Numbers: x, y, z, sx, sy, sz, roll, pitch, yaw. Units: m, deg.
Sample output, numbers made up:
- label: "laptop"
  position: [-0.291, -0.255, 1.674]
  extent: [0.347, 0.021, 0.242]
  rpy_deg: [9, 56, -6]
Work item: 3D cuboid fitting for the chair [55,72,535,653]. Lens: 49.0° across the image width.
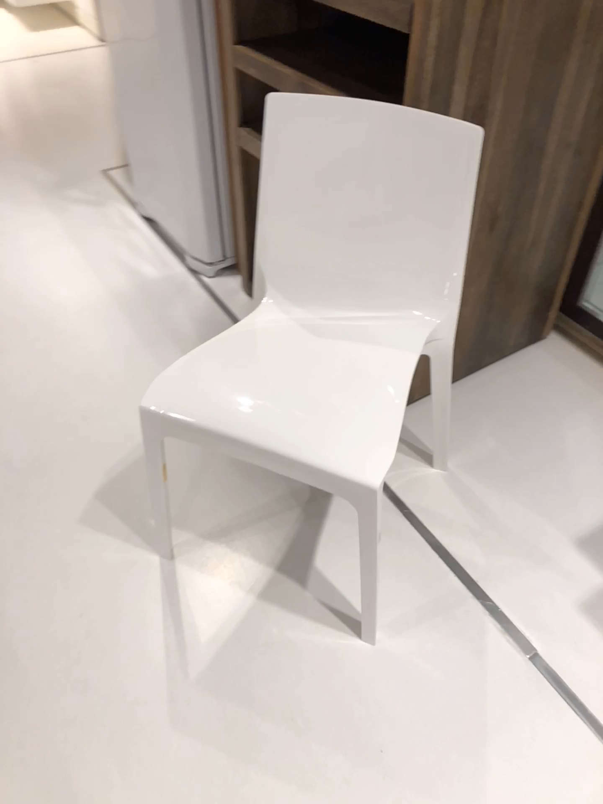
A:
- label: "chair"
  position: [0.028, -0.060, 1.155]
  extent: [0.480, 0.755, 0.523]
  rpy_deg: [17, 46, 16]
